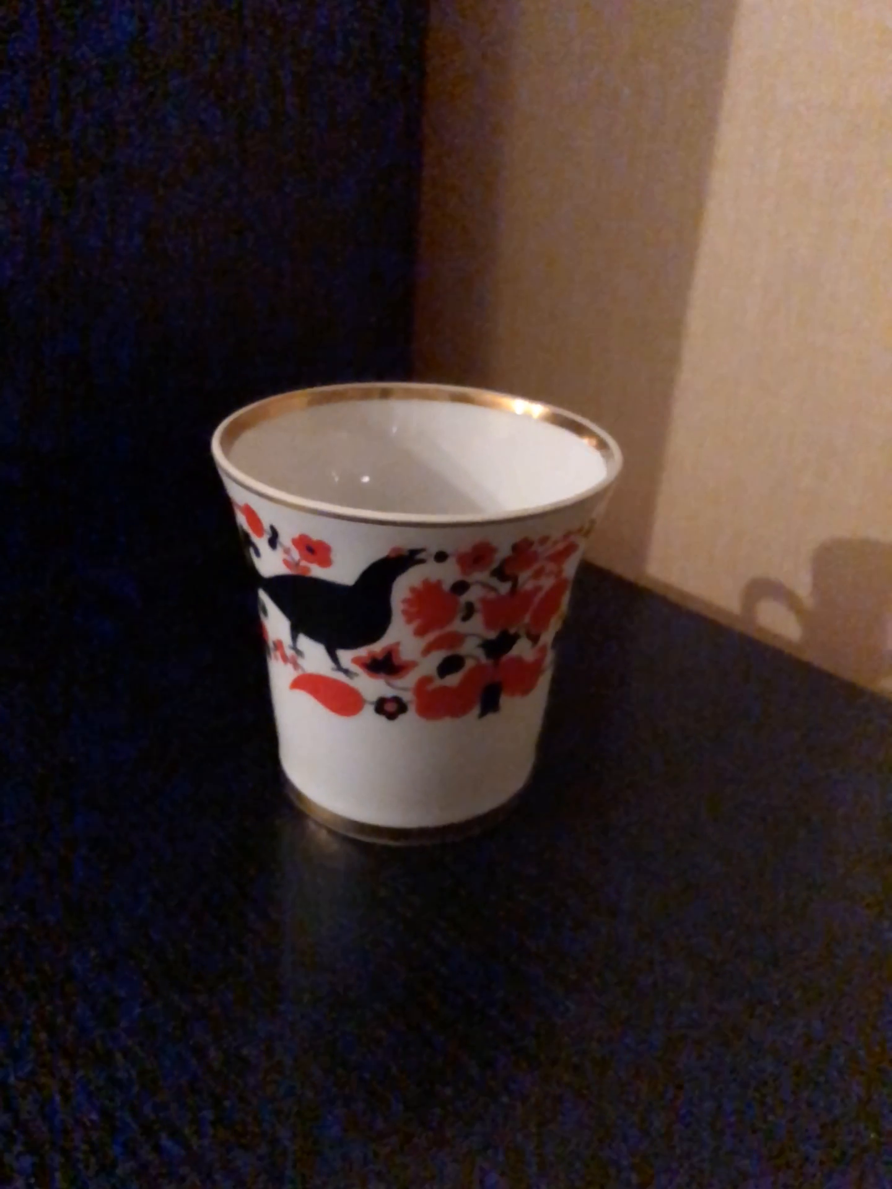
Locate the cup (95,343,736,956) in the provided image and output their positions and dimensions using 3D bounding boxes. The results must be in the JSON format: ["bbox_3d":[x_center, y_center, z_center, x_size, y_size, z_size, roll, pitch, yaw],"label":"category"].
[{"bbox_3d":[-0.014,-0.001,0.265,0.102,0.092,0.125,-18,35,-35],"label":"cup"}]
